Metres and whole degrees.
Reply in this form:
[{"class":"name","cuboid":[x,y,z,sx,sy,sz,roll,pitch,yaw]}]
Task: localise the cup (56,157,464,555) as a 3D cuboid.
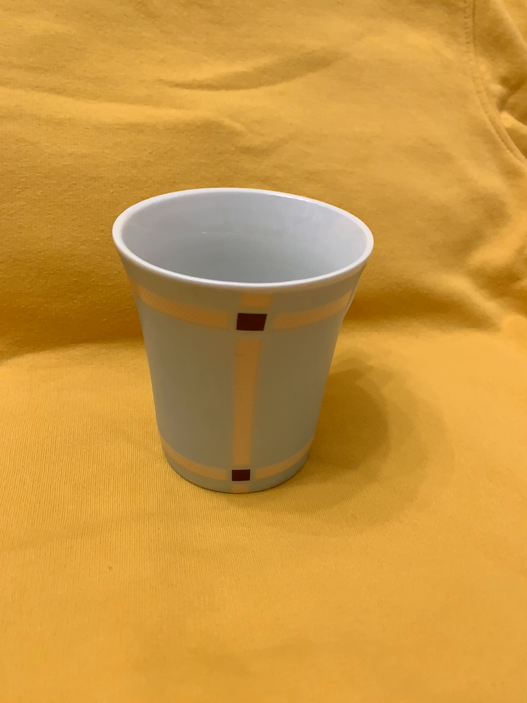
[{"class":"cup","cuboid":[-0.004,-0.011,0.237,0.121,0.103,0.099,-23,44,-35]}]
